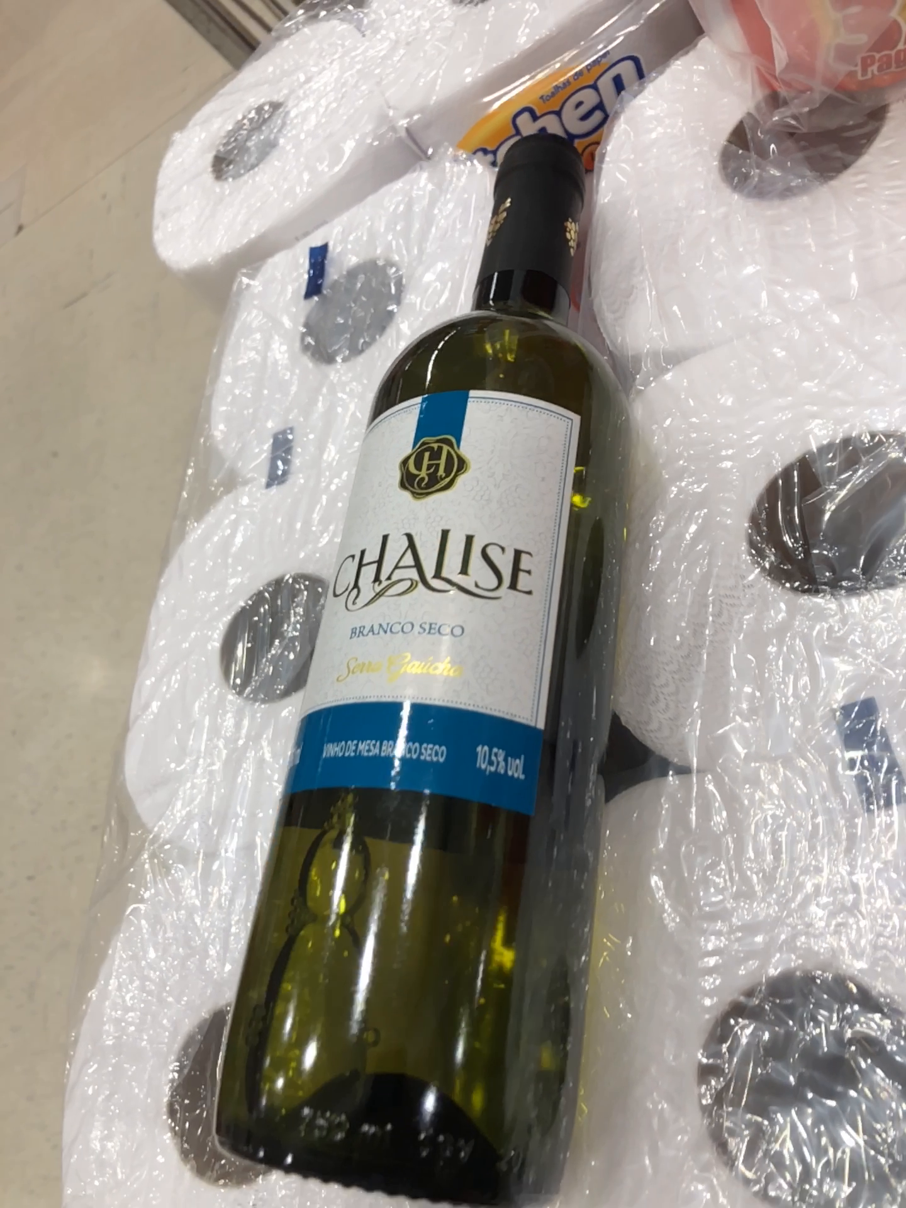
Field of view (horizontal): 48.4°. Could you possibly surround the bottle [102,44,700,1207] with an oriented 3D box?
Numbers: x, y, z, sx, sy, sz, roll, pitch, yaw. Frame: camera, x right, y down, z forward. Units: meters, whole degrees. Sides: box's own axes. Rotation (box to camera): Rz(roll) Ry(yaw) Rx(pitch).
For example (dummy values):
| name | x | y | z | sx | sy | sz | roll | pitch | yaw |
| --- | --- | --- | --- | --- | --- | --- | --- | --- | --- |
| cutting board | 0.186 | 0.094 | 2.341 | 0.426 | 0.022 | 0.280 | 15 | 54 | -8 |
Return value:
| name | x | y | z | sx | sy | sz | roll | pitch | yaw |
| --- | --- | --- | --- | --- | --- | --- | --- | --- | --- |
| bottle | 0.009 | -0.009 | 0.244 | 0.080 | 0.060 | 0.281 | 0 | 63 | 21 |
